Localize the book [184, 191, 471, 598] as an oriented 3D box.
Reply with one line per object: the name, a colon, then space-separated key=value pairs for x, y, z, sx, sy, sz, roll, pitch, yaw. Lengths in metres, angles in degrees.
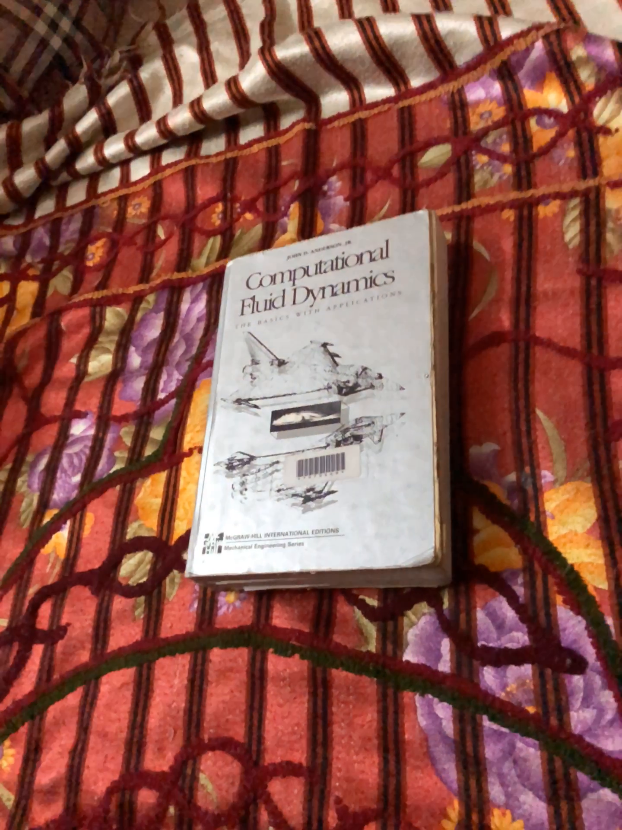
book: x=0.015 y=-0.012 z=0.463 sx=0.161 sy=0.060 sz=0.250 roll=-8 pitch=64 yaw=24
